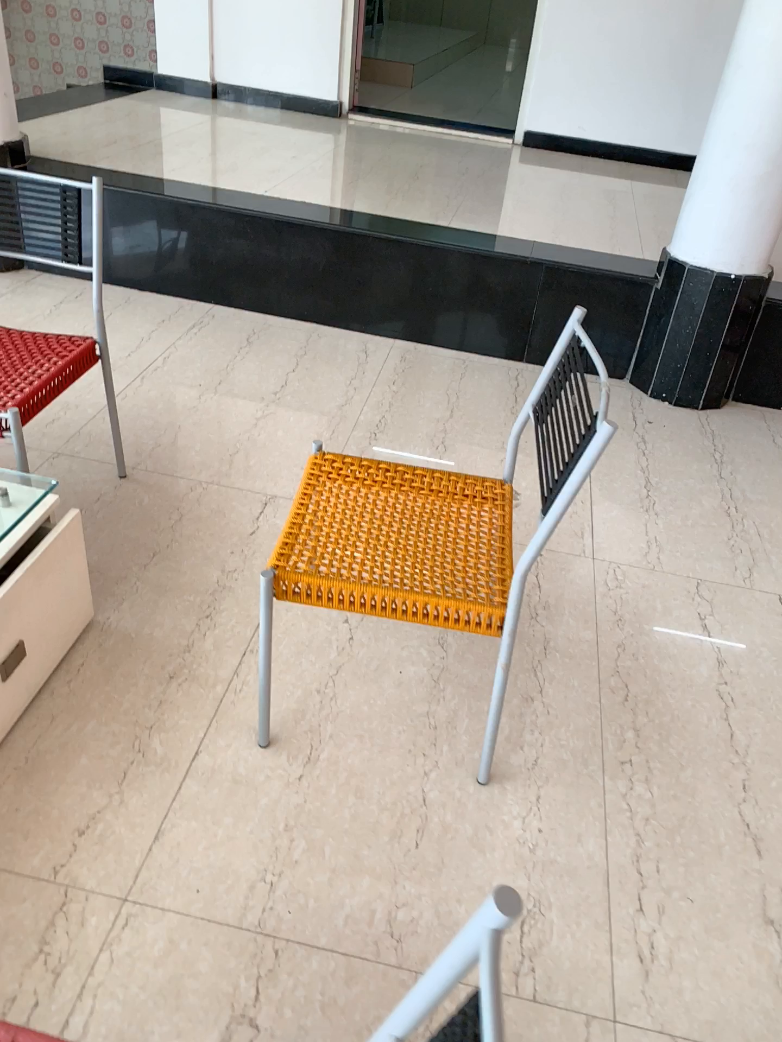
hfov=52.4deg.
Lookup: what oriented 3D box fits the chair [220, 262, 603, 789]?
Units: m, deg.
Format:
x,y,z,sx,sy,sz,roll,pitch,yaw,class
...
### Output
x,y,z,sx,sy,sz,roll,pitch,yaw,class
0.024,0.001,1.492,0.520,0.744,0.534,9,35,4,chair
